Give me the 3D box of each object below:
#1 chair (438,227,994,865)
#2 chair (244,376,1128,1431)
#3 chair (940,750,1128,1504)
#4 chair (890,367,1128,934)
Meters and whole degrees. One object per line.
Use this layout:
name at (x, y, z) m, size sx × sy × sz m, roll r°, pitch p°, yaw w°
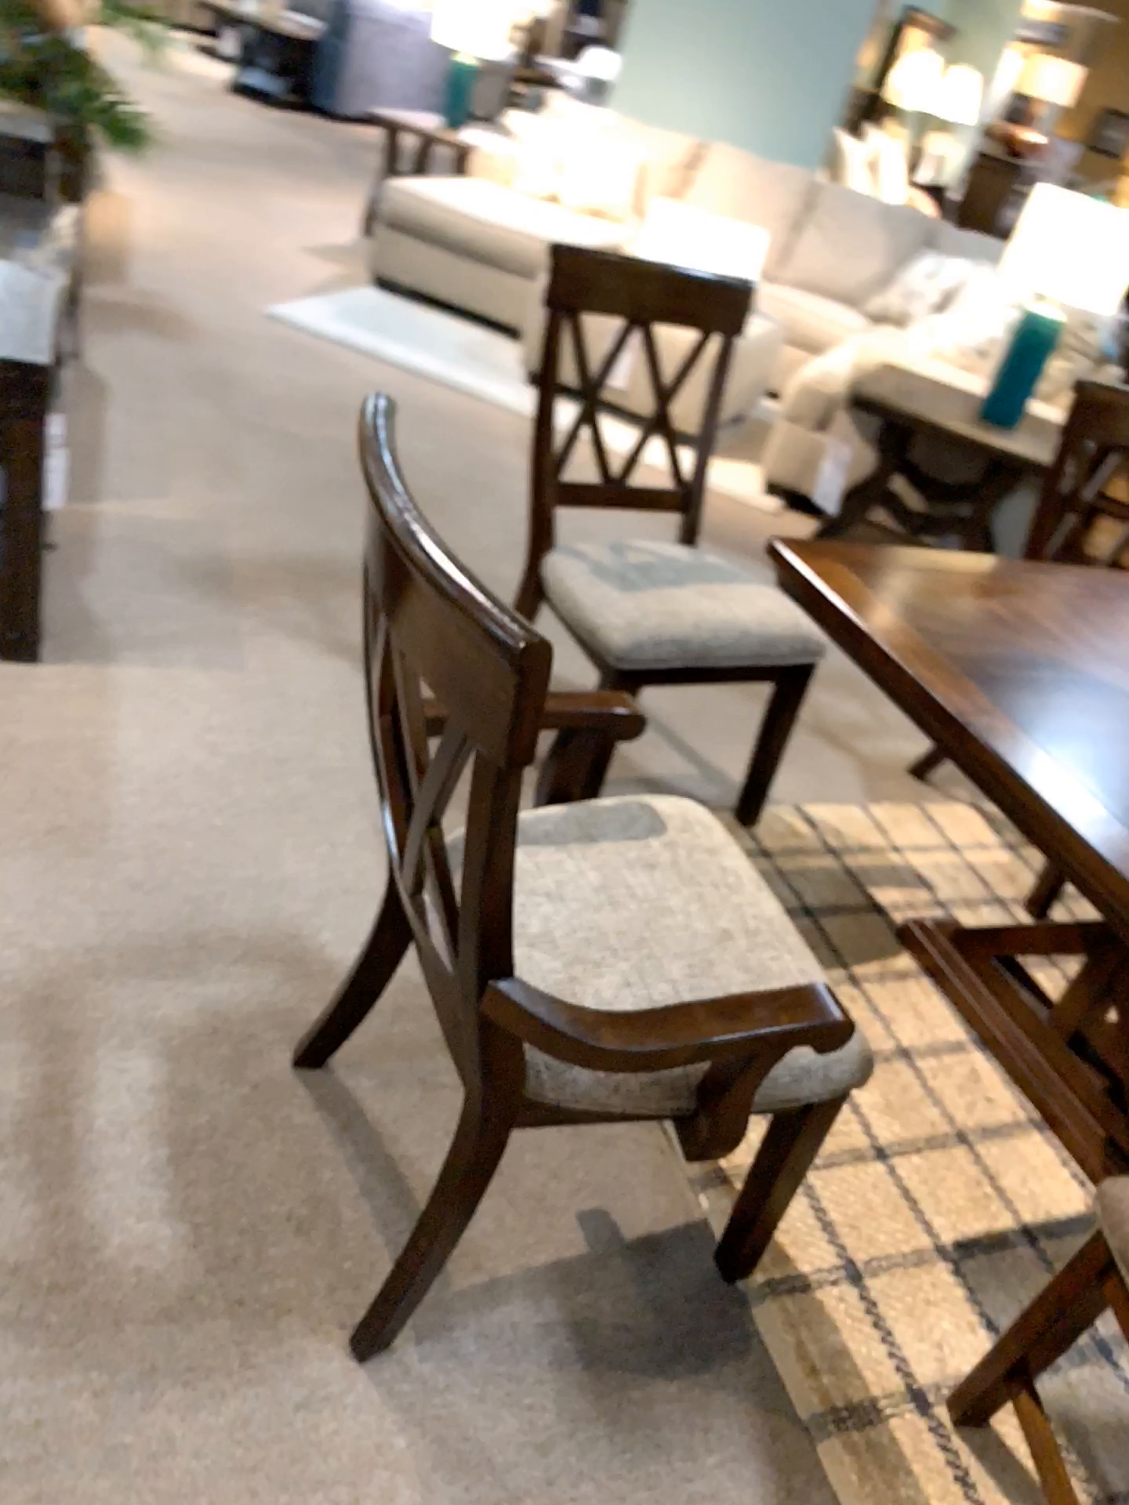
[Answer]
chair at (0.206, -0.374, 2.194) m, size 0.506 × 0.916 × 0.646 m, roll -3°, pitch 37°, yaw -31°
chair at (0.060, 0.171, 1.285) m, size 0.655 × 0.896 × 0.547 m, roll 2°, pitch 34°, yaw -23°
chair at (0.844, 0.599, 0.959) m, size 0.505 × 0.936 × 0.647 m, roll 9°, pitch 32°, yaw -12°
chair at (1.204, -0.196, 2.404) m, size 0.466 × 0.916 × 0.647 m, roll 2°, pitch 34°, yaw -23°
